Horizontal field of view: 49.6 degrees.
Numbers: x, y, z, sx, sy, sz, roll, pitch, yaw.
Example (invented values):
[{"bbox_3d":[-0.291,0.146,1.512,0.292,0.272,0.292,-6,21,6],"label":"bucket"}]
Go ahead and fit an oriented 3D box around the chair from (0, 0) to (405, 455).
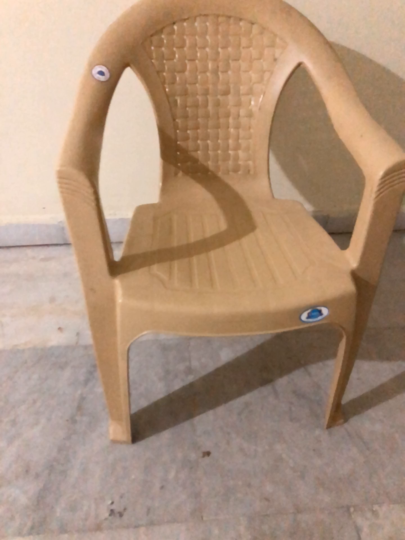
[{"bbox_3d":[0.035,-0.129,0.903,0.590,0.744,0.604,-4,40,-6],"label":"chair"}]
